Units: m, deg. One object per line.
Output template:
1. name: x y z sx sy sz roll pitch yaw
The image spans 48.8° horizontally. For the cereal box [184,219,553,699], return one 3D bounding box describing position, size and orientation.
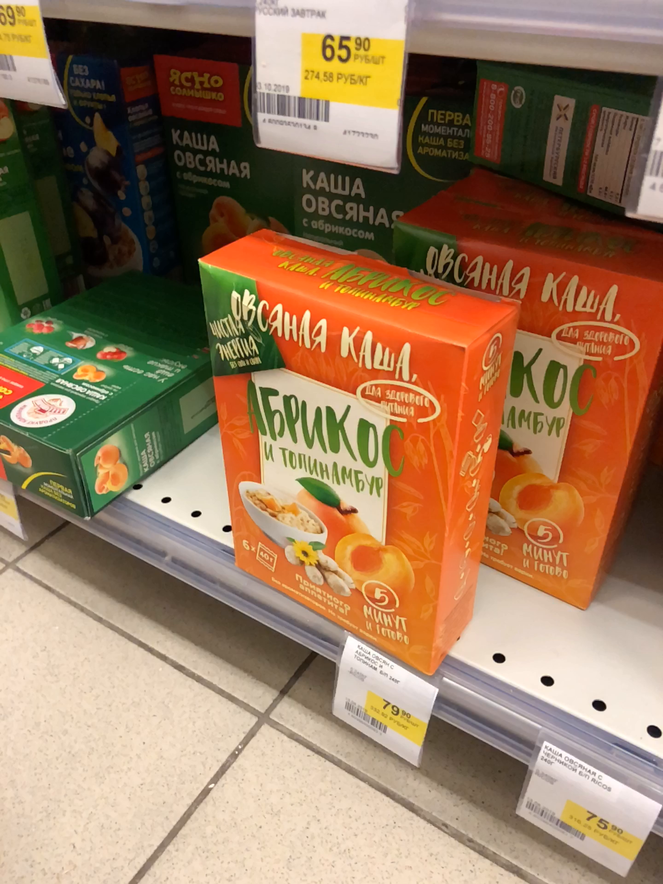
1. cereal box: 0.011 0.010 0.342 0.140 0.189 0.050 23 43 29
